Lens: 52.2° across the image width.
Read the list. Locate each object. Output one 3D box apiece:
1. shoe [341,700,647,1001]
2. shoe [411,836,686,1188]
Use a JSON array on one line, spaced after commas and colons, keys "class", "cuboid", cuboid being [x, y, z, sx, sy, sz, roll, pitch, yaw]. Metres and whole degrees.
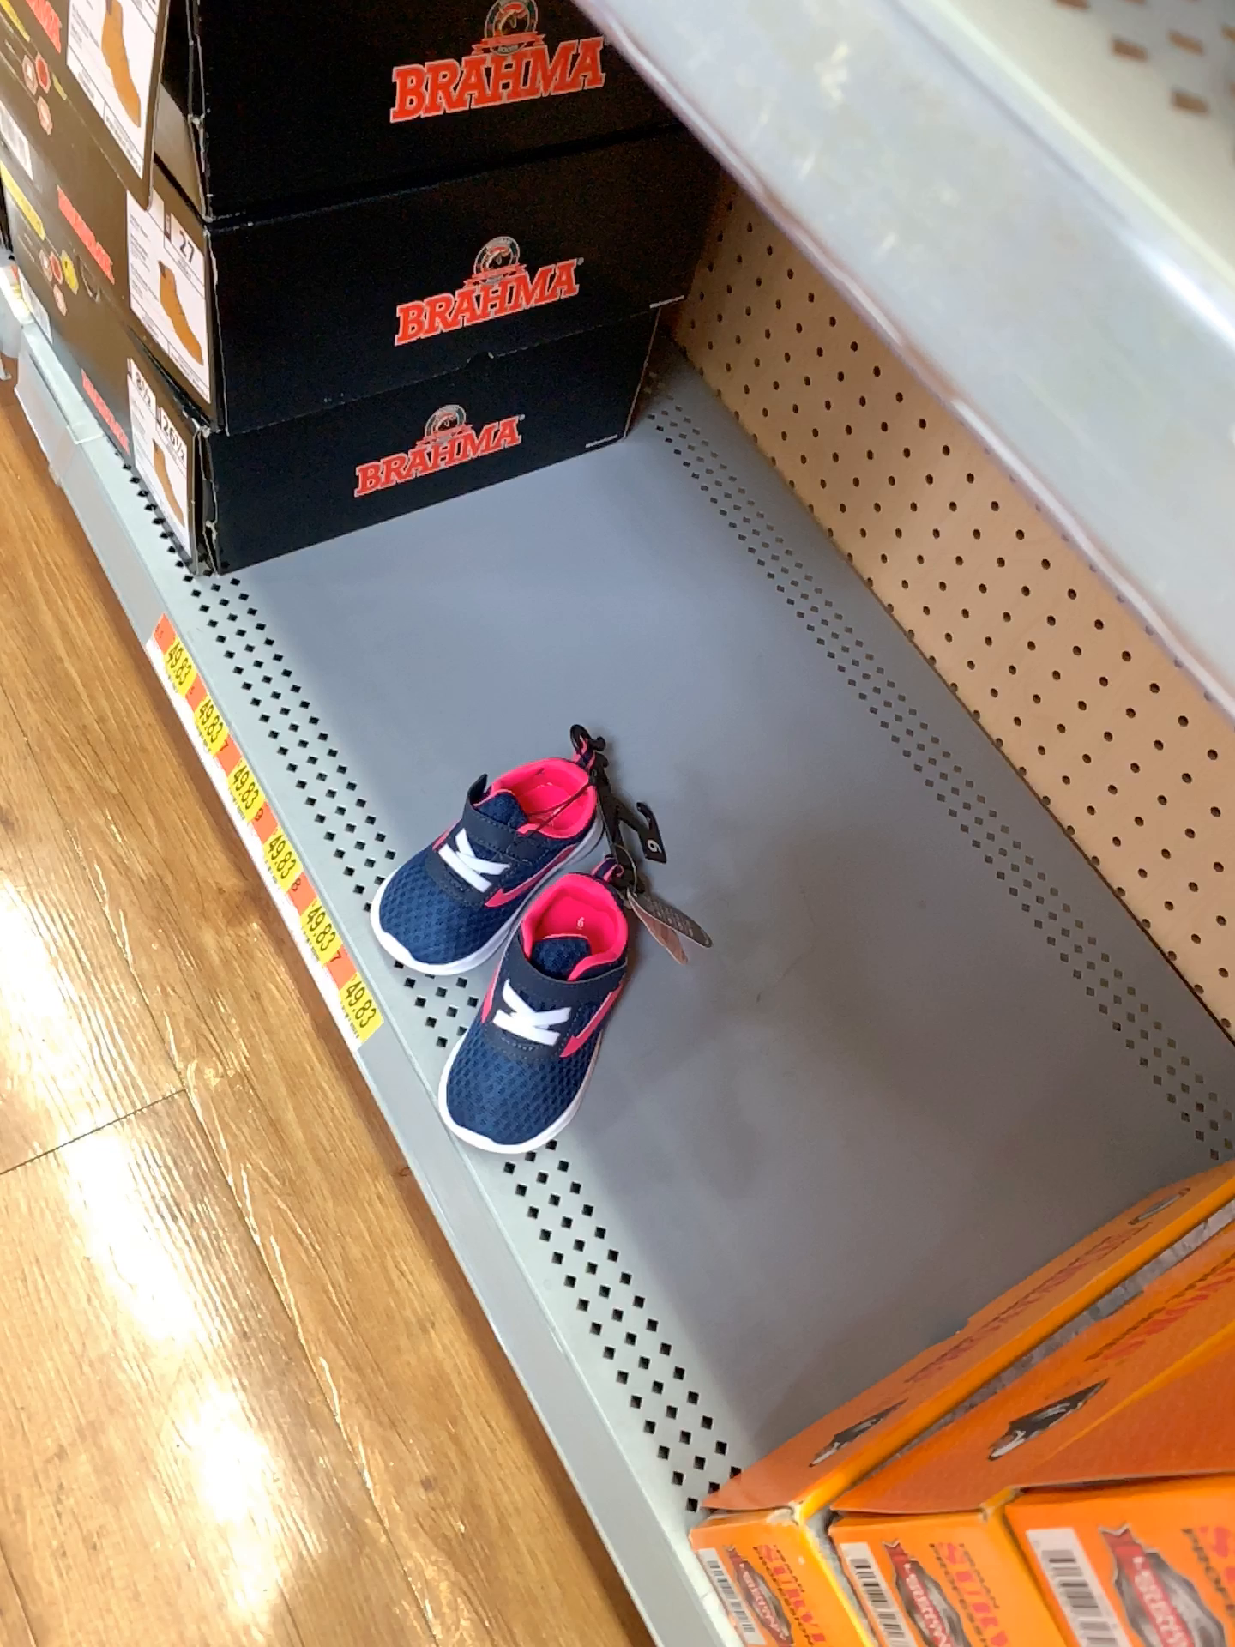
[{"class": "shoe", "cuboid": [-0.066, 0.013, 0.673, 0.073, 0.064, 0.146, 44, 61, 14]}, {"class": "shoe", "cuboid": [-0.034, 0.093, 0.634, 0.073, 0.064, 0.146, 27, 58, 3]}]
